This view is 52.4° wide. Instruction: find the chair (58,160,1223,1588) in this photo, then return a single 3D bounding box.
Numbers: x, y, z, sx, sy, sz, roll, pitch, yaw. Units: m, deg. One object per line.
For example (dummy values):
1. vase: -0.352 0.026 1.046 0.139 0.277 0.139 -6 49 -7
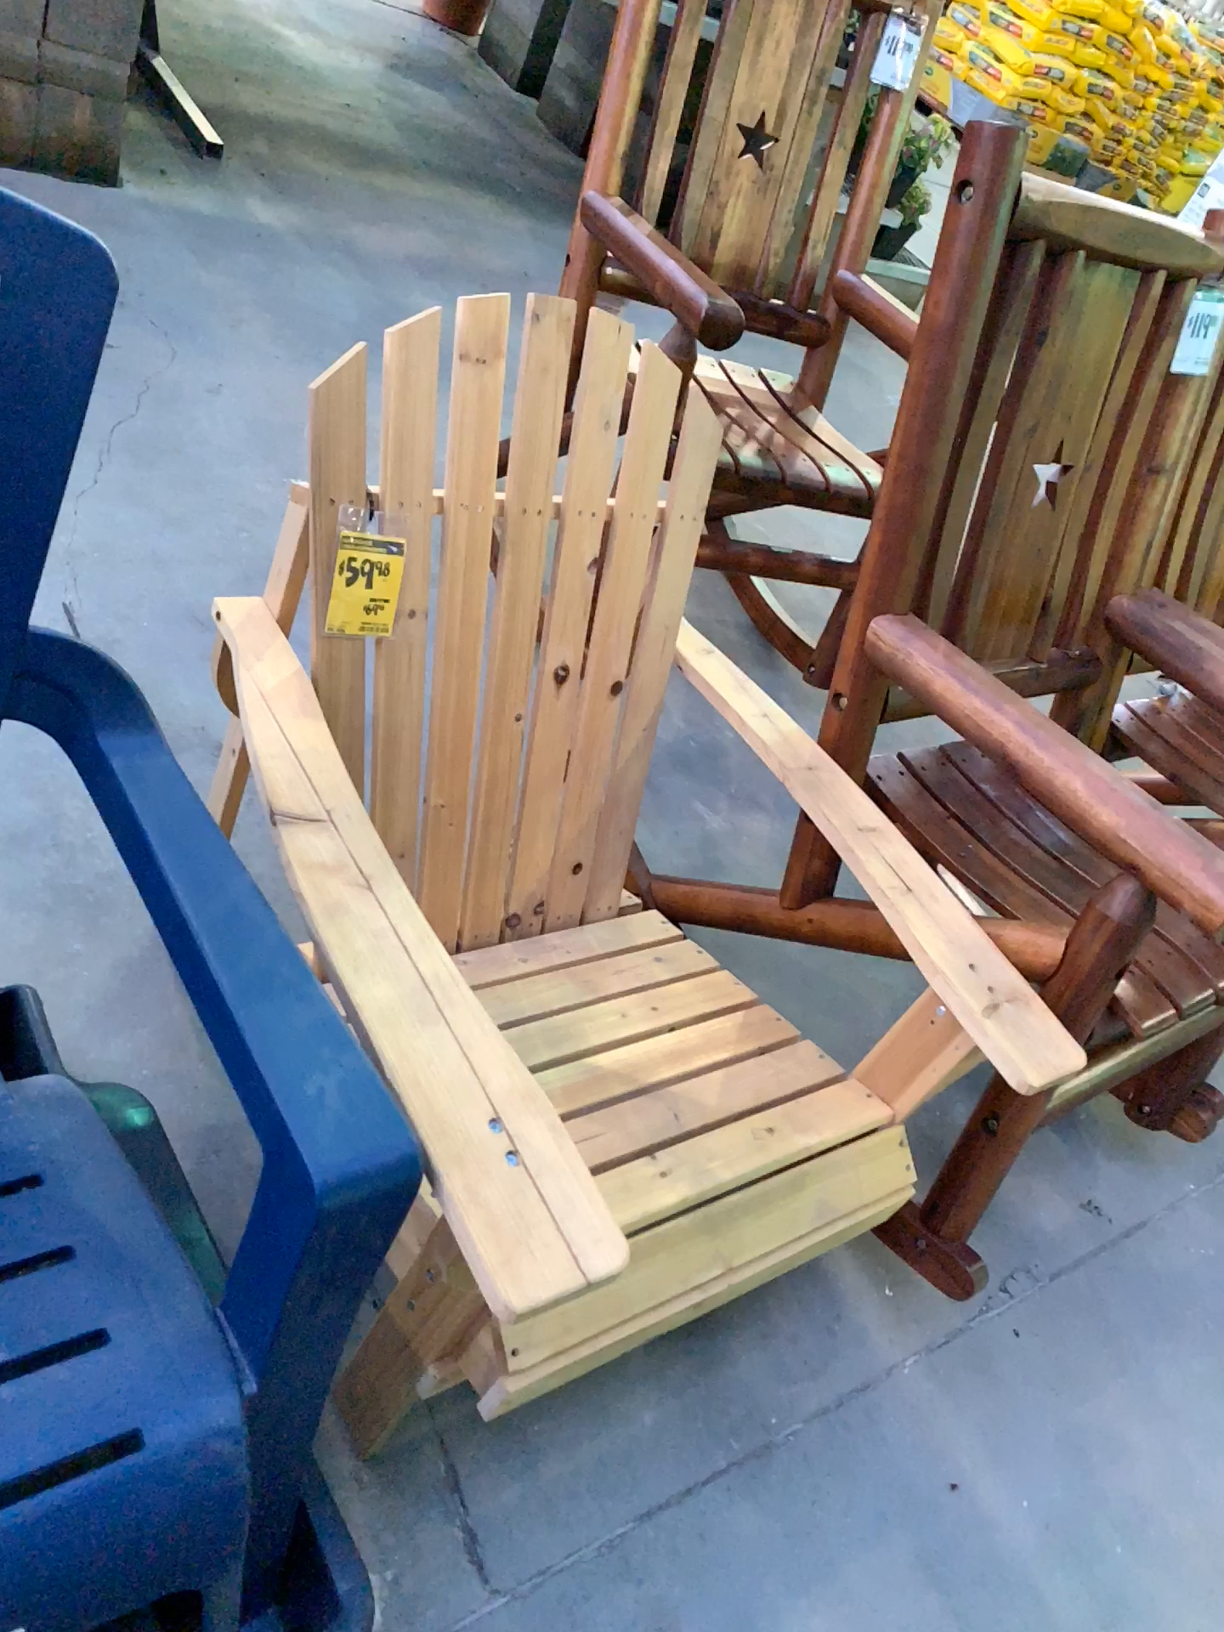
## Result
1. chair: -0.019 0.043 1.310 0.730 0.886 0.892 -9 53 -39
